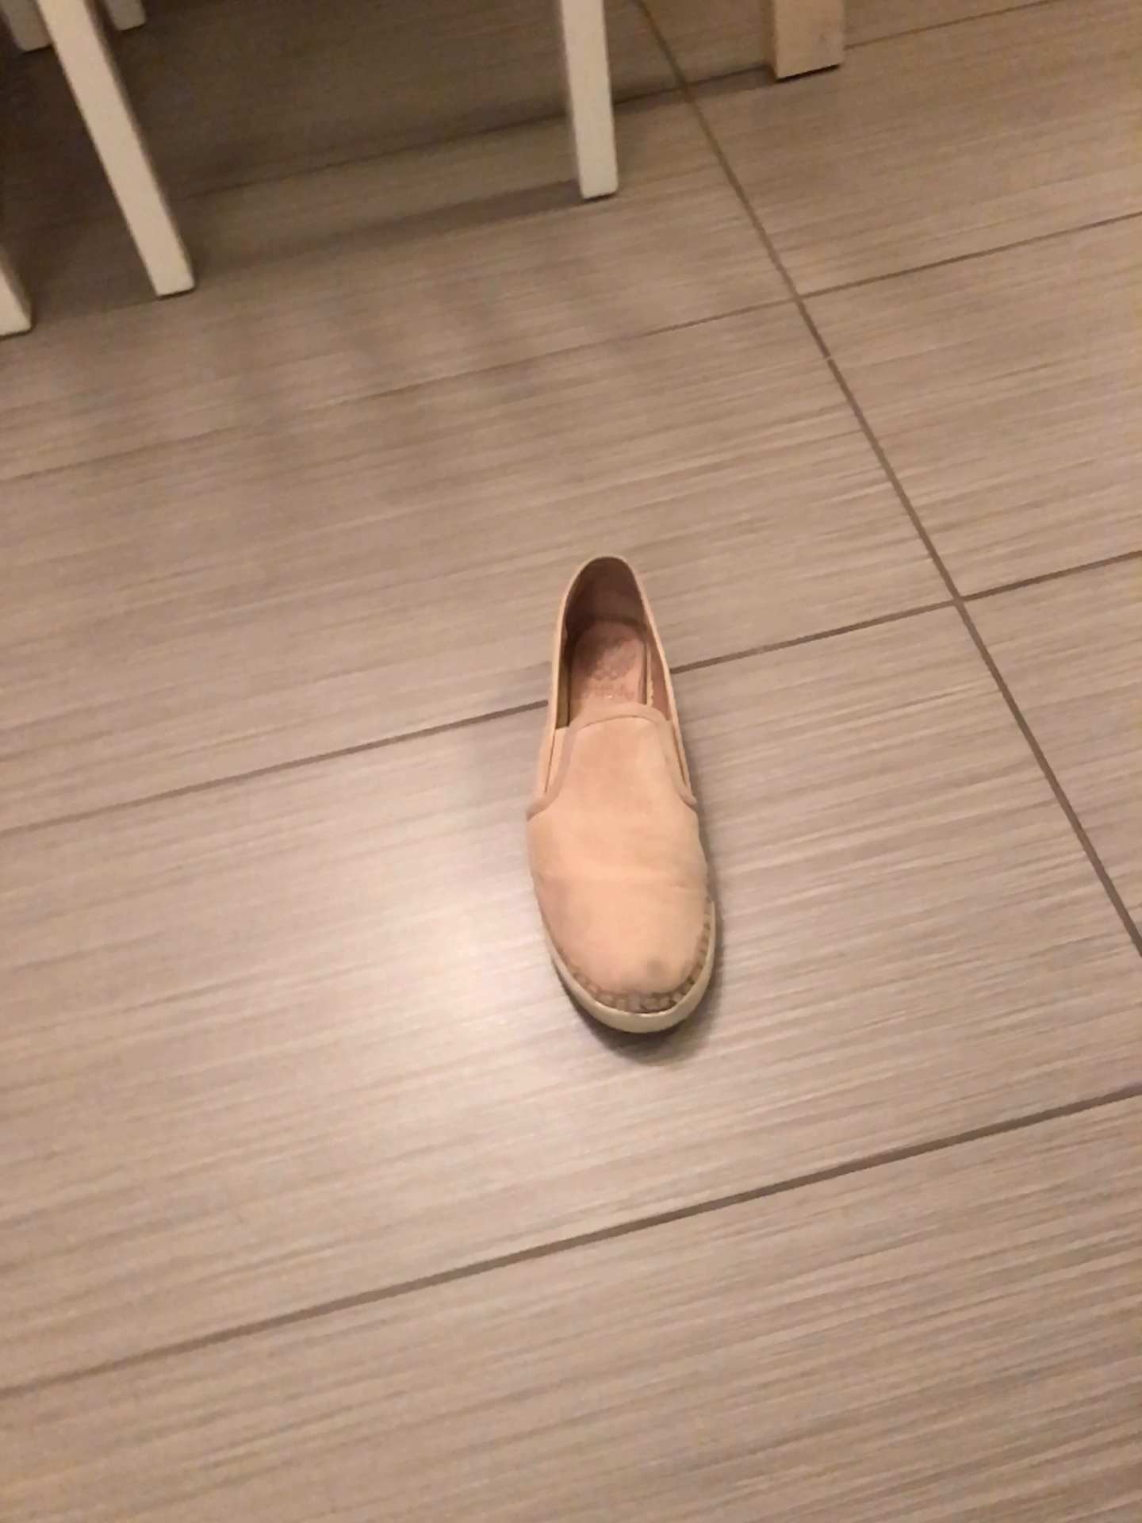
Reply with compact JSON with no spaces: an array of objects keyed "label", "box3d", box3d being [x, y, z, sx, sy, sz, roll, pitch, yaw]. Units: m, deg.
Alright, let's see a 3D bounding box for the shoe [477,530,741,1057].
[{"label":"shoe","box3d":[0.015,0.008,0.662,0.110,0.070,0.271,-7,56,3]}]
